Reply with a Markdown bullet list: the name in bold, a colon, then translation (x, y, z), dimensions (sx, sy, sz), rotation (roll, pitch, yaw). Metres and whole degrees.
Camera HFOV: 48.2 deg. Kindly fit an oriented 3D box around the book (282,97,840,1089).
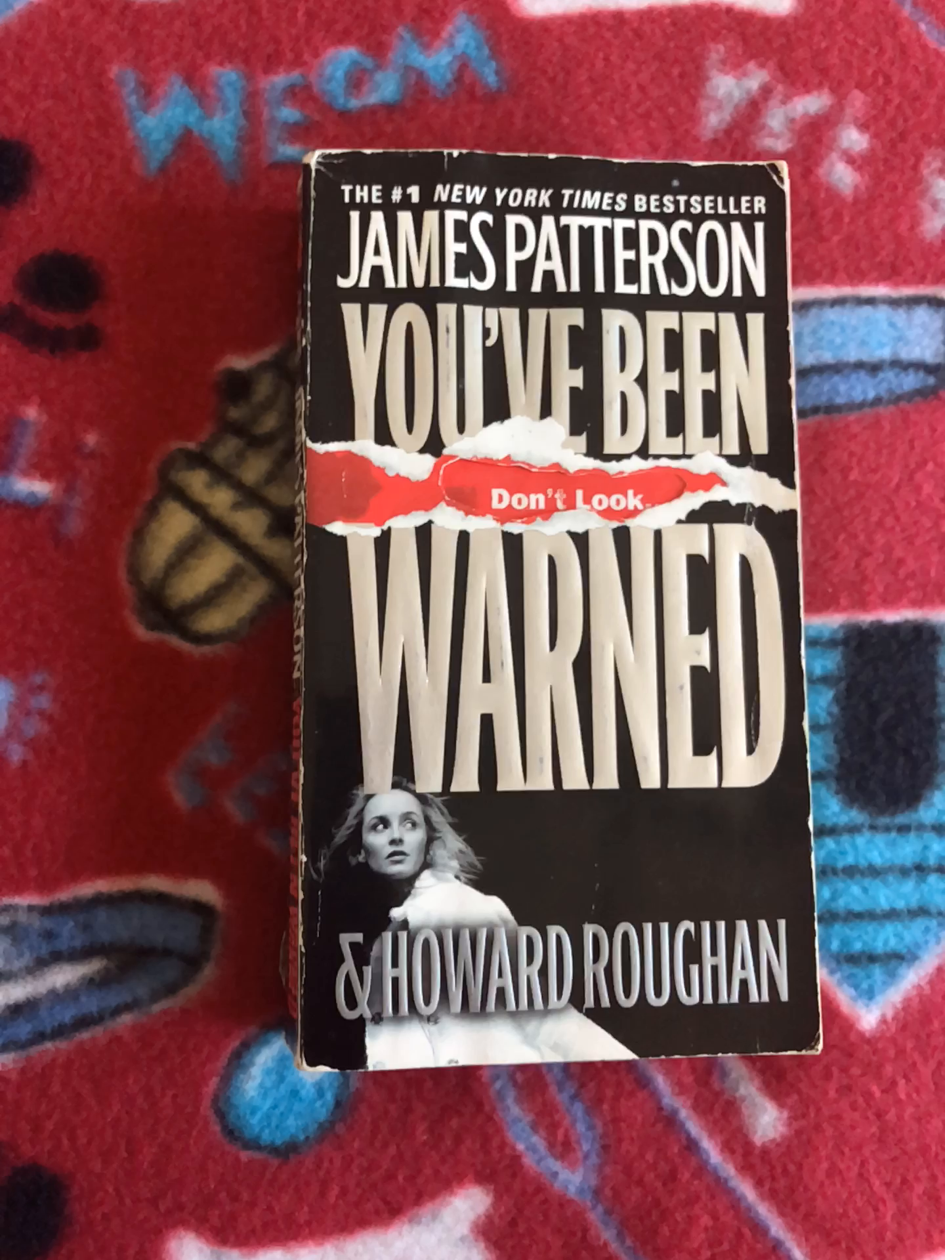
- **book**: translation (0.017, -0.008, 0.228), dimensions (0.110, 0.040, 0.190), rotation (0, 88, -6)
